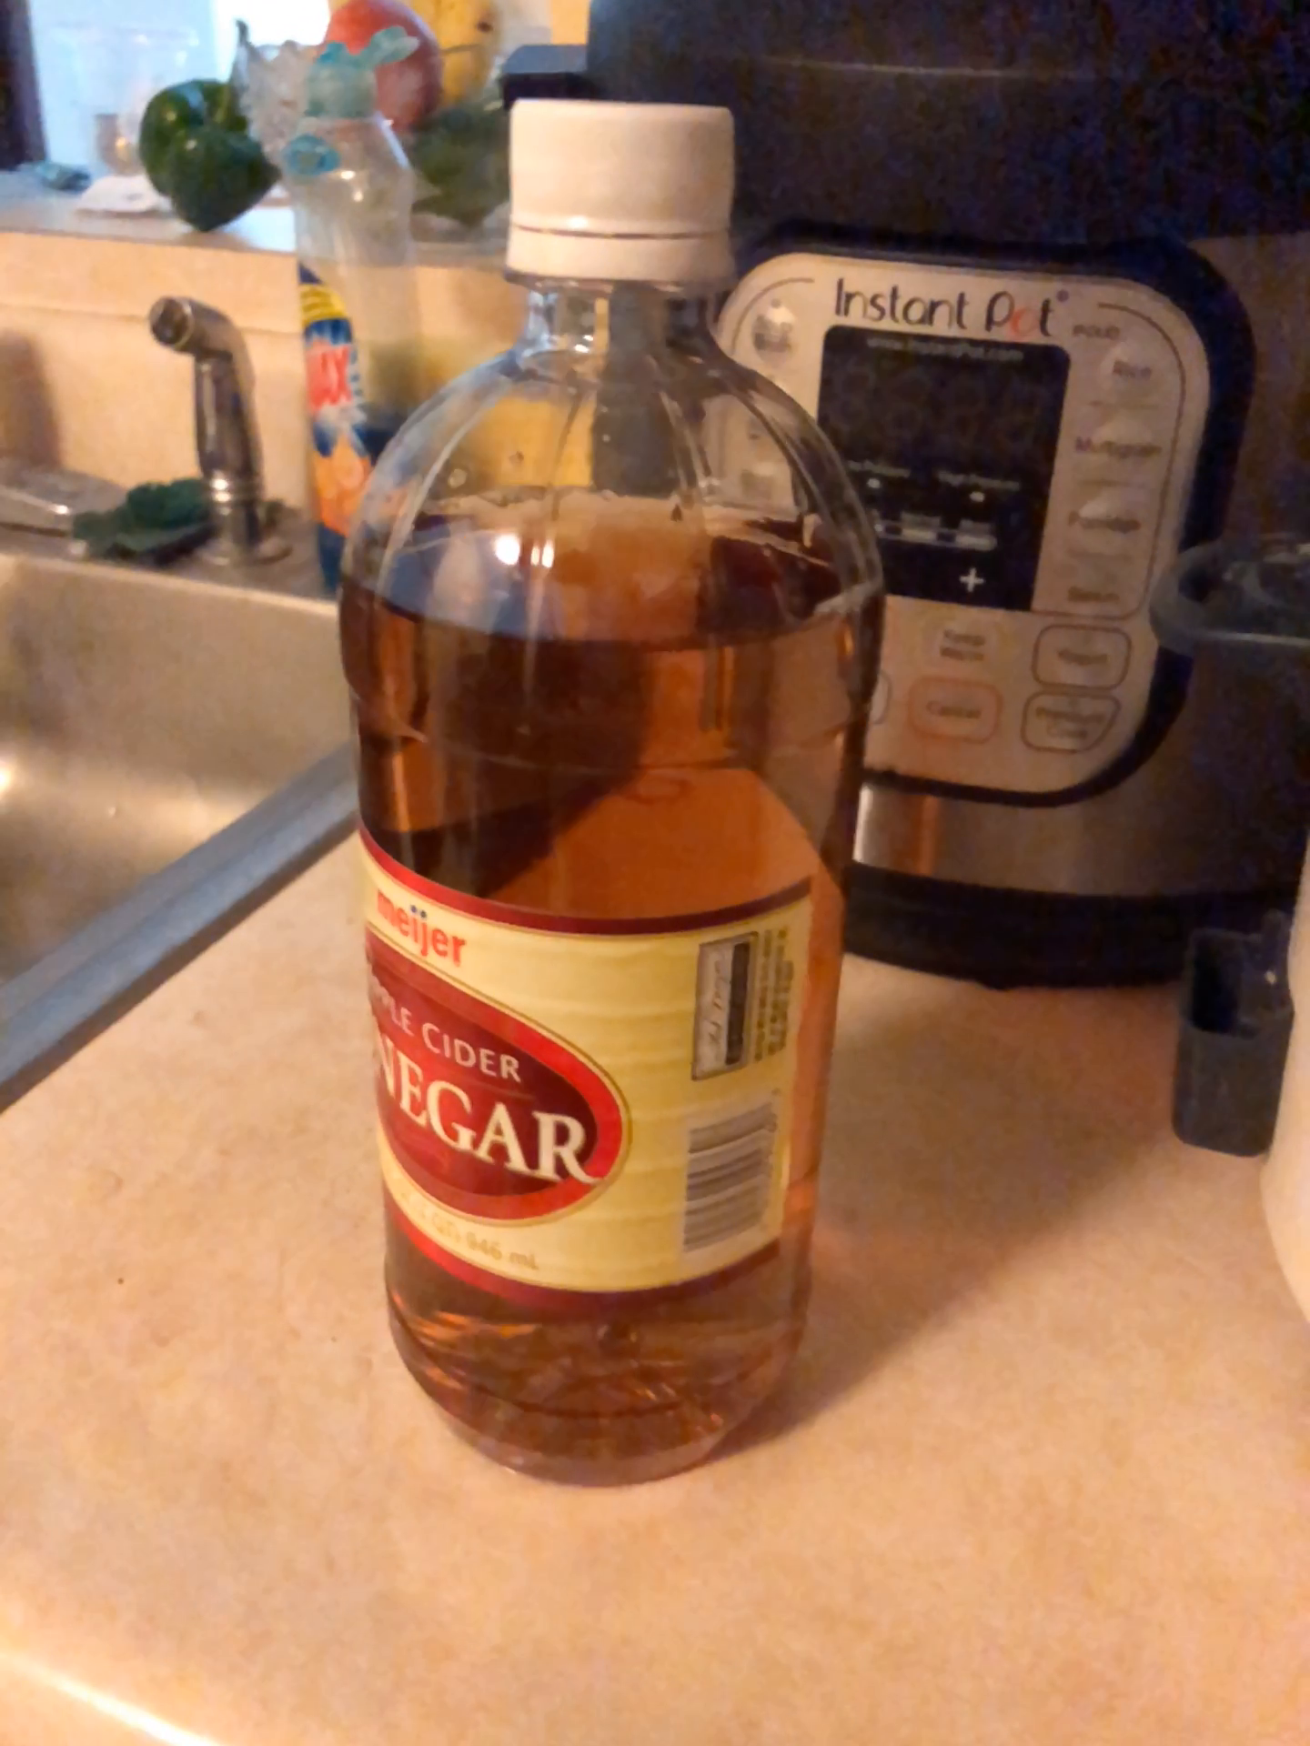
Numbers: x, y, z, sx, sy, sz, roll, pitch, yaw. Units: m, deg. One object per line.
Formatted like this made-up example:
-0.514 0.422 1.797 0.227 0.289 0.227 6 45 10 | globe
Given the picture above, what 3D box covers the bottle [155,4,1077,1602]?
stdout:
-0.010 -0.008 0.243 0.080 0.229 0.090 -22 36 -38 | bottle
